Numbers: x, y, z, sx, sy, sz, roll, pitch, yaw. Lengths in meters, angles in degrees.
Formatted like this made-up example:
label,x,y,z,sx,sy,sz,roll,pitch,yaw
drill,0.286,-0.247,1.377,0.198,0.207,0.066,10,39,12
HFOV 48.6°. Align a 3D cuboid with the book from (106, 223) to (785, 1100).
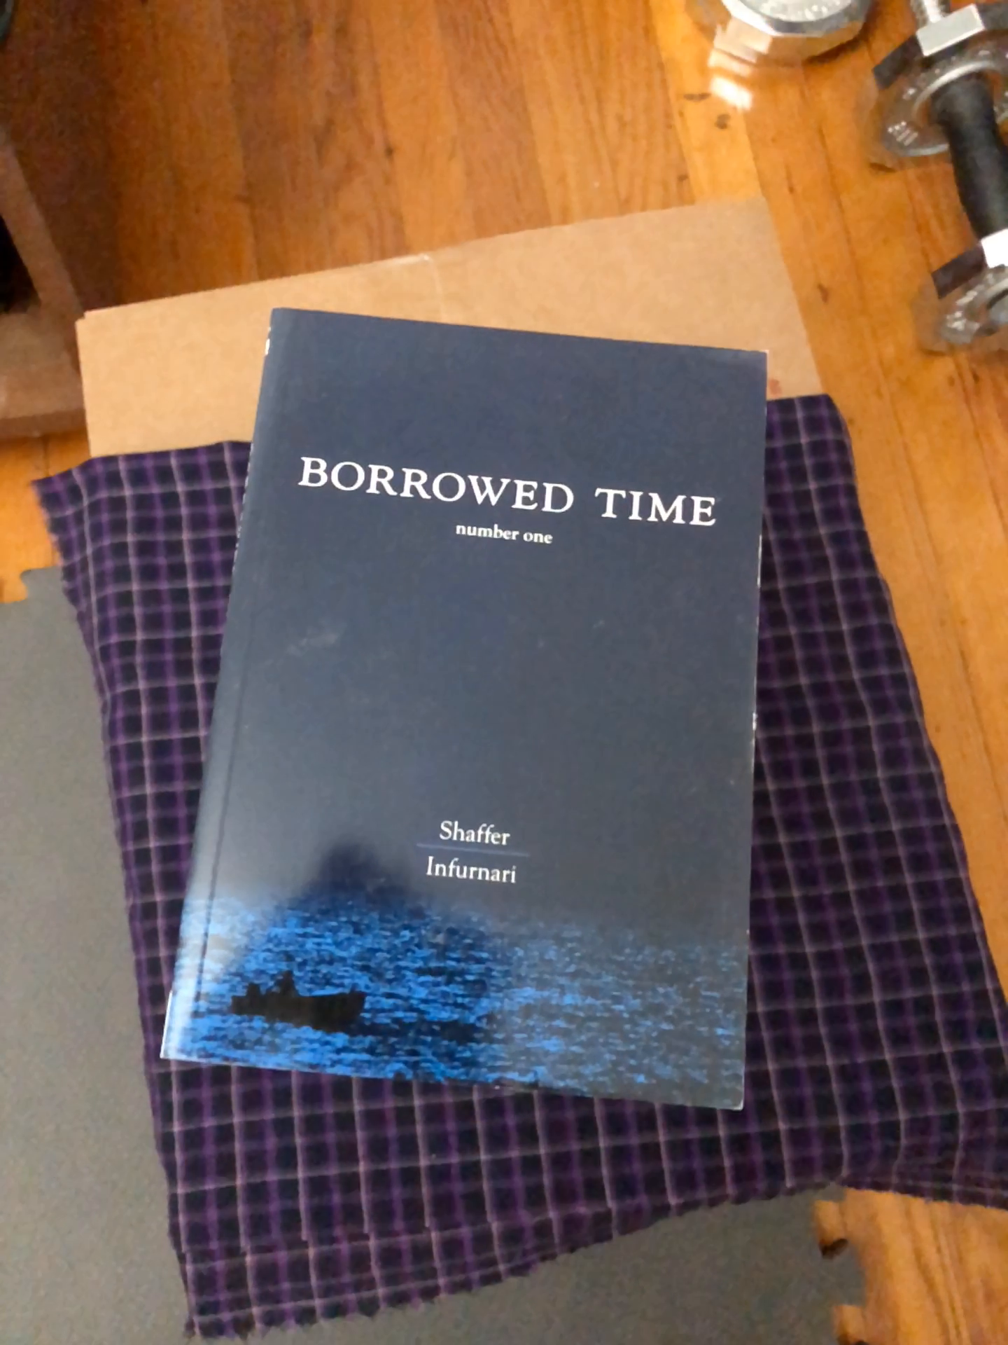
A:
label,x,y,z,sx,sy,sz,roll,pitch,yaw
book,-0.006,-0.014,0.303,0.160,0.010,0.230,5,74,-1
